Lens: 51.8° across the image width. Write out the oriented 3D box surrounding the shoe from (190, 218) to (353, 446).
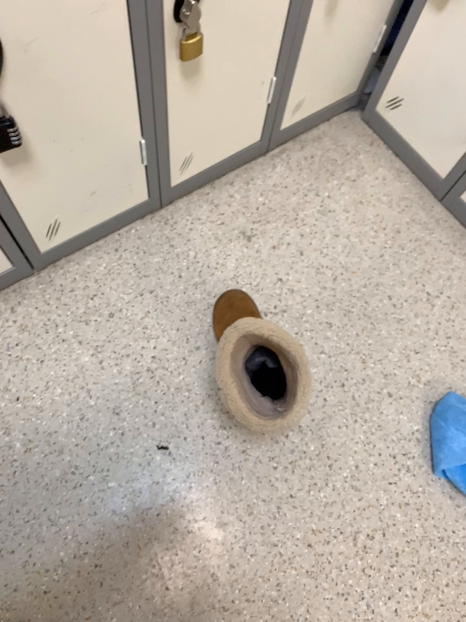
[{"bbox_3d":[0.041,0.048,0.838,0.158,0.244,0.307,-14,70,-11],"label":"shoe"}]
